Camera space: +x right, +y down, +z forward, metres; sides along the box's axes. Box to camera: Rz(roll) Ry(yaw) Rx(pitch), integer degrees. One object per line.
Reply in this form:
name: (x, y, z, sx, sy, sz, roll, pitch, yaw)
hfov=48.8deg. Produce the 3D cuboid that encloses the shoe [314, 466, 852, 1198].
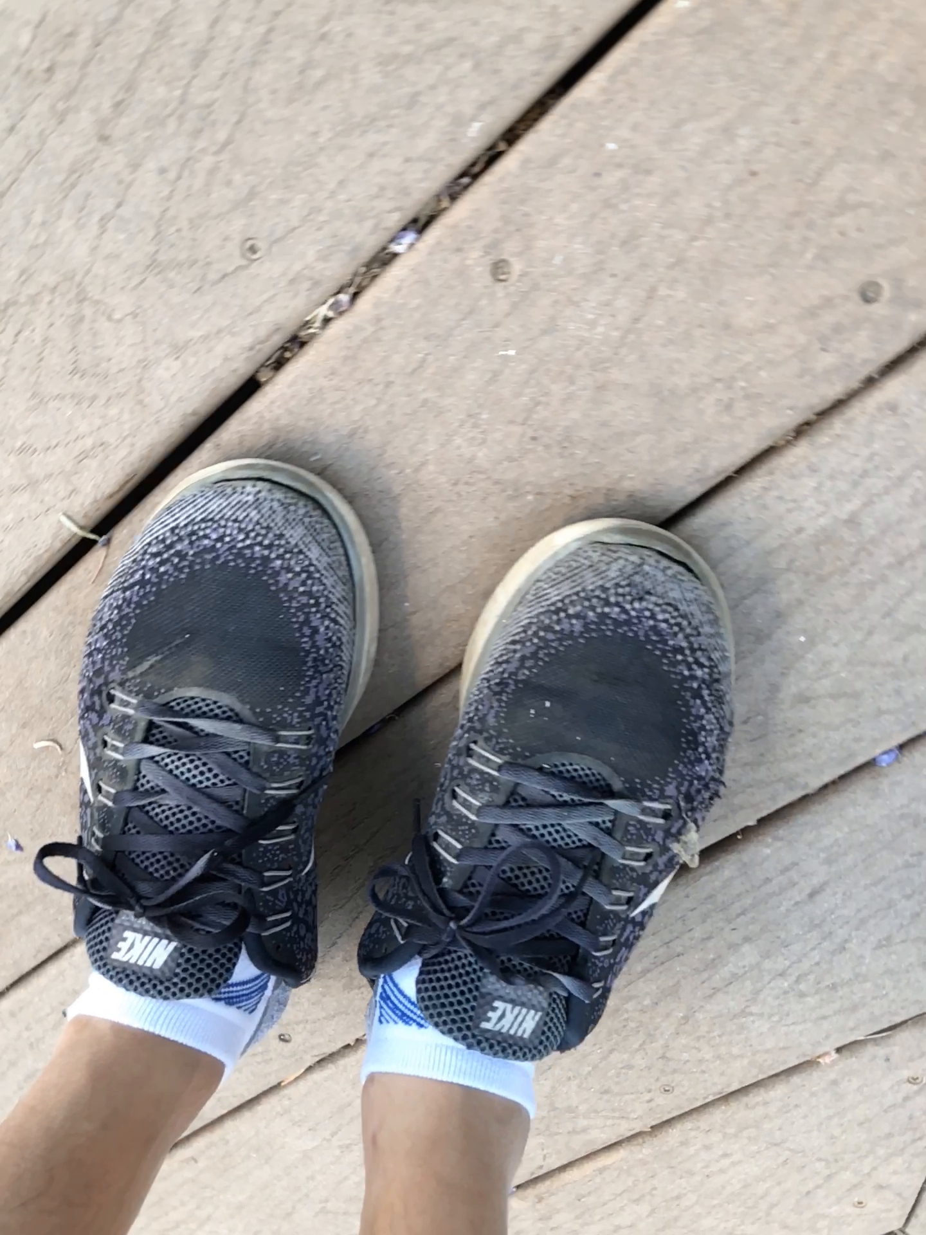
shoe: (0.033, 0.095, 0.417, 0.120, 0.100, 0.271, 15, 117, -2)

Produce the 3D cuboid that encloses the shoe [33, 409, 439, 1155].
shoe: (-0.102, 0.081, 0.434, 0.120, 0.090, 0.301, 13, 117, 0)

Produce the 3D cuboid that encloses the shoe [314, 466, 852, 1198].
shoe: (0.033, 0.095, 0.417, 0.120, 0.100, 0.271, 15, 117, -2)
